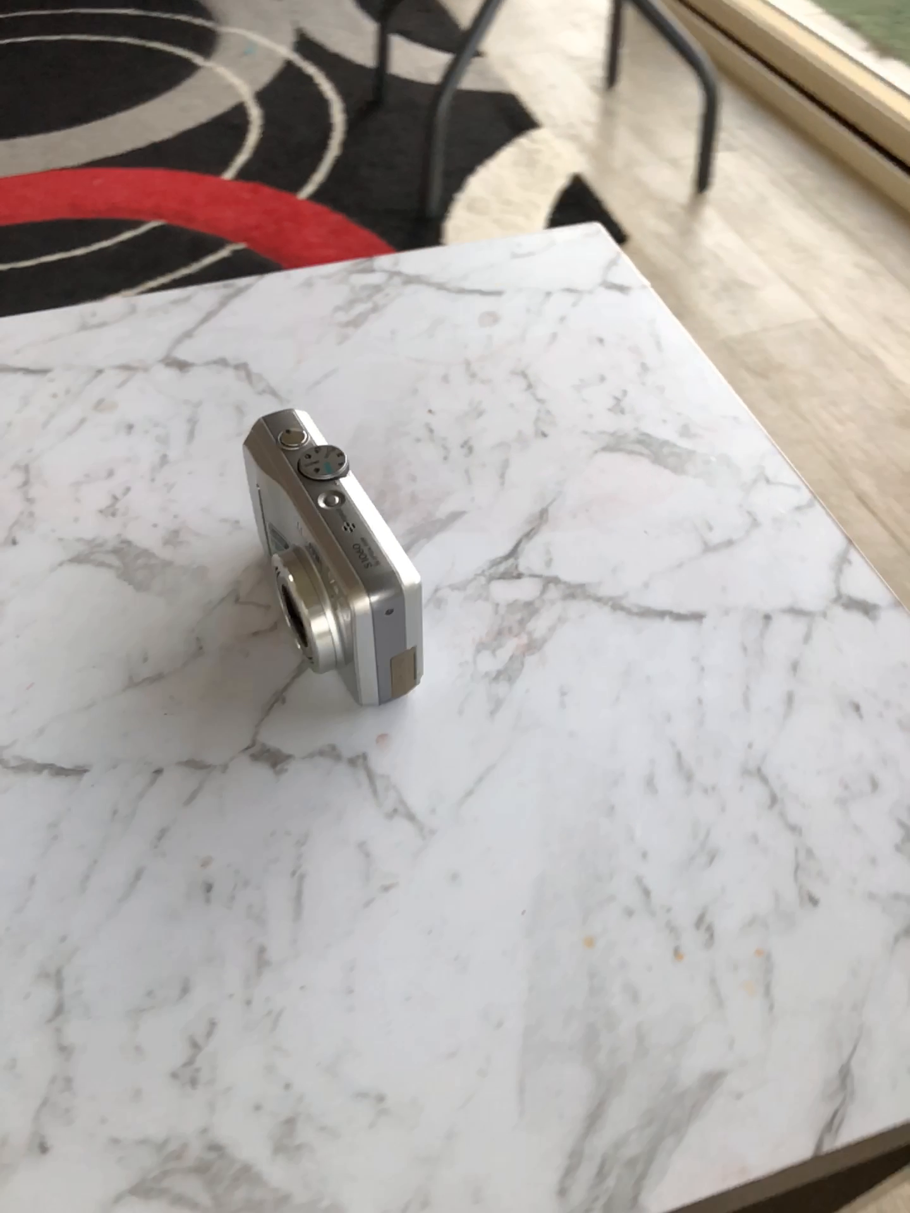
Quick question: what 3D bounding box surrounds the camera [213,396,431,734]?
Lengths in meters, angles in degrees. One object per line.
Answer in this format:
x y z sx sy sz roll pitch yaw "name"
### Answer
-0.046 -0.016 0.351 0.034 0.061 0.099 -21 52 -18 "camera"
